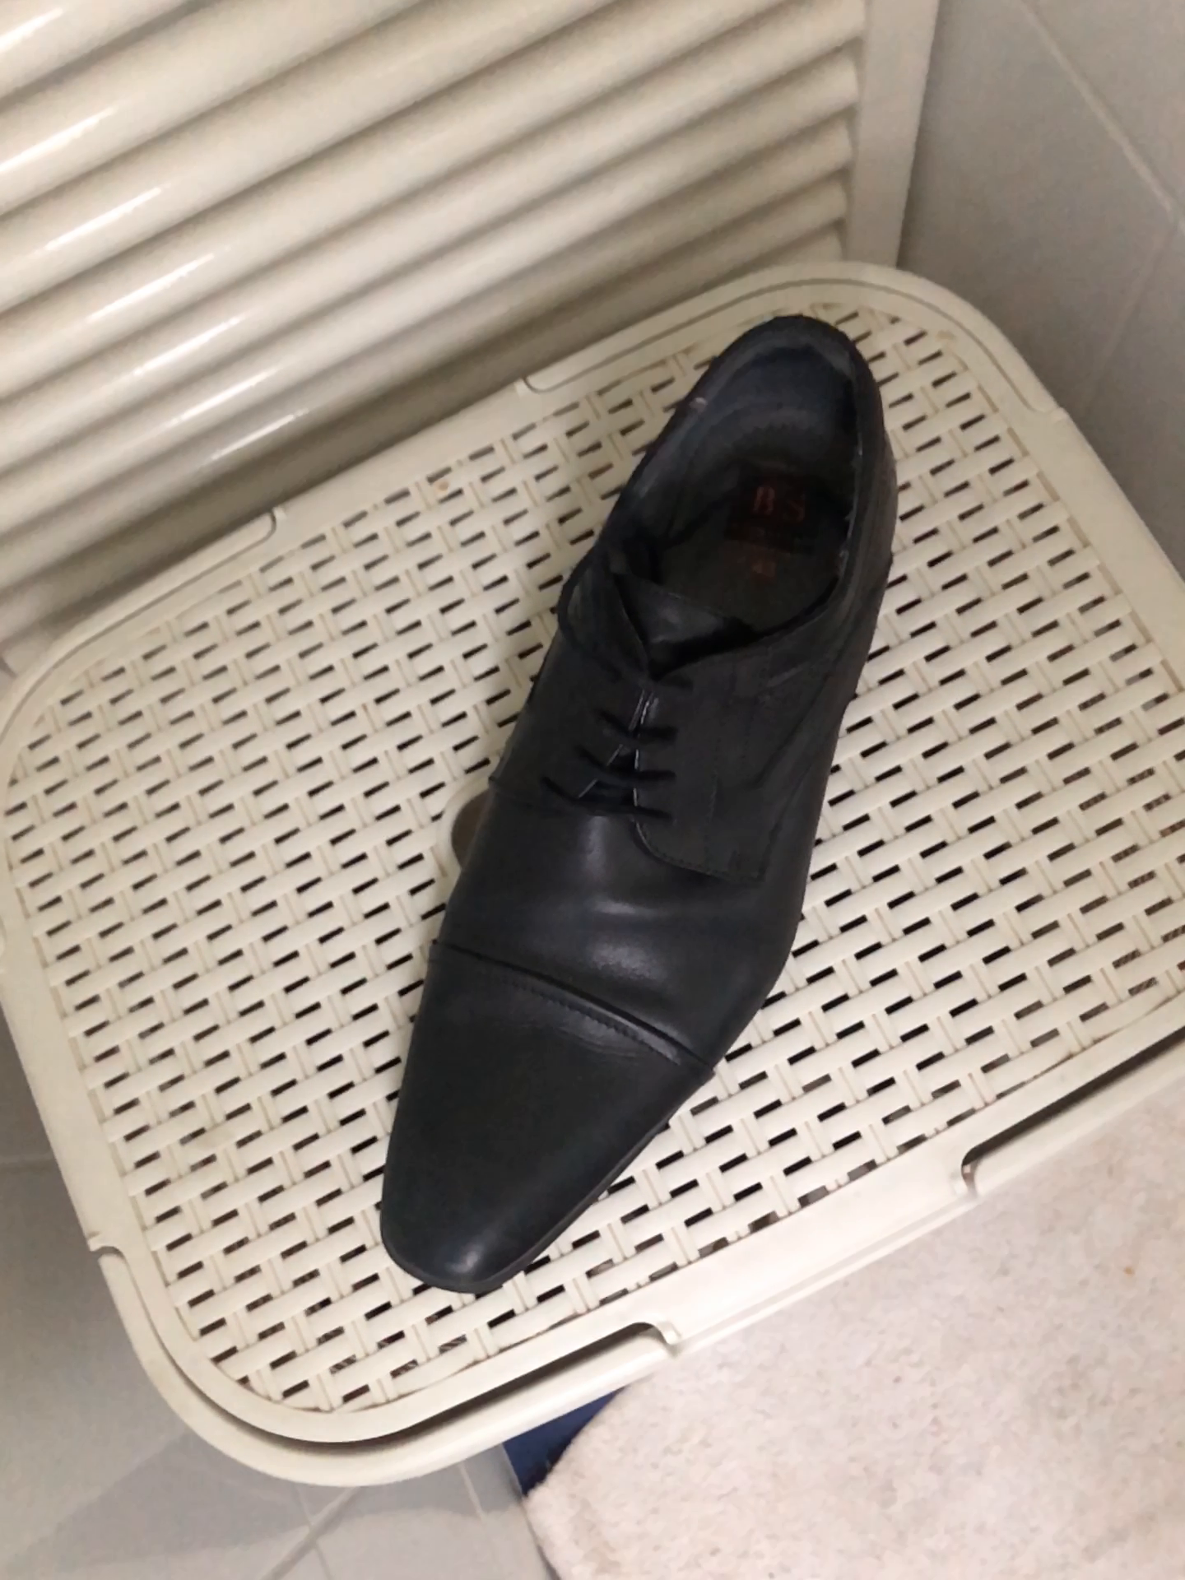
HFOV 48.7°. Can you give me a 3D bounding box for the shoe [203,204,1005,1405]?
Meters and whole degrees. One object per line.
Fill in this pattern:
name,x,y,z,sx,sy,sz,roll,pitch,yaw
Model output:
shoe,0.014,-0.002,0.399,0.110,0.100,0.310,20,81,11
